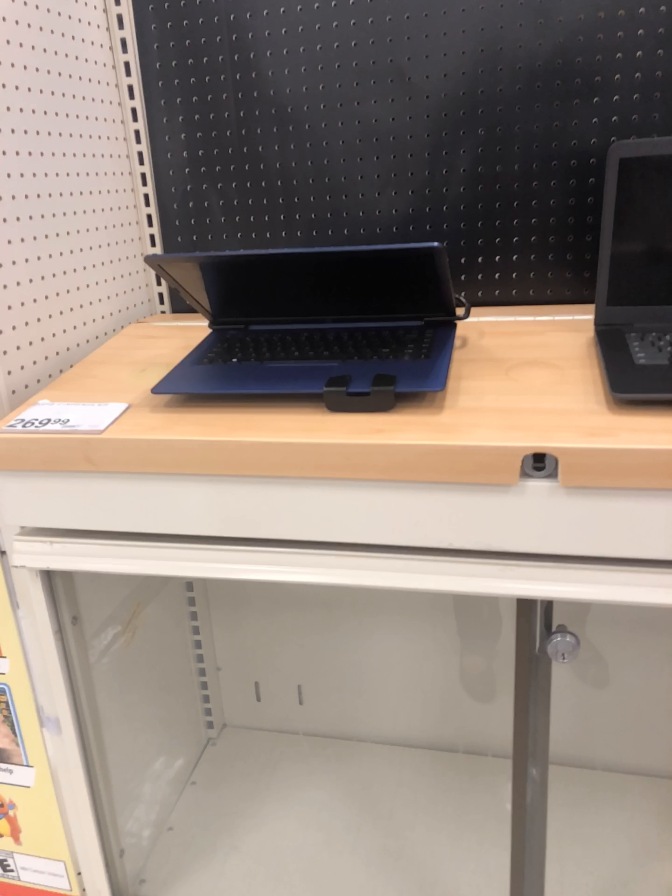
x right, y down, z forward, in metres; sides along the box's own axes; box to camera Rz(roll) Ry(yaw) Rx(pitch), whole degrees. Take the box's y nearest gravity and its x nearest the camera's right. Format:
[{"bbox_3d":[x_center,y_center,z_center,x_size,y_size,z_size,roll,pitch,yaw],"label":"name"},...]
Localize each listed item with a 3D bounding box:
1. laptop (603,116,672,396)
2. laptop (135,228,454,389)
[{"bbox_3d":[0.445,-0.192,0.718,0.330,0.206,0.224,2,23,16],"label":"laptop"},{"bbox_3d":[-0.034,-0.164,0.843,0.320,0.111,0.202,1,26,14],"label":"laptop"}]
